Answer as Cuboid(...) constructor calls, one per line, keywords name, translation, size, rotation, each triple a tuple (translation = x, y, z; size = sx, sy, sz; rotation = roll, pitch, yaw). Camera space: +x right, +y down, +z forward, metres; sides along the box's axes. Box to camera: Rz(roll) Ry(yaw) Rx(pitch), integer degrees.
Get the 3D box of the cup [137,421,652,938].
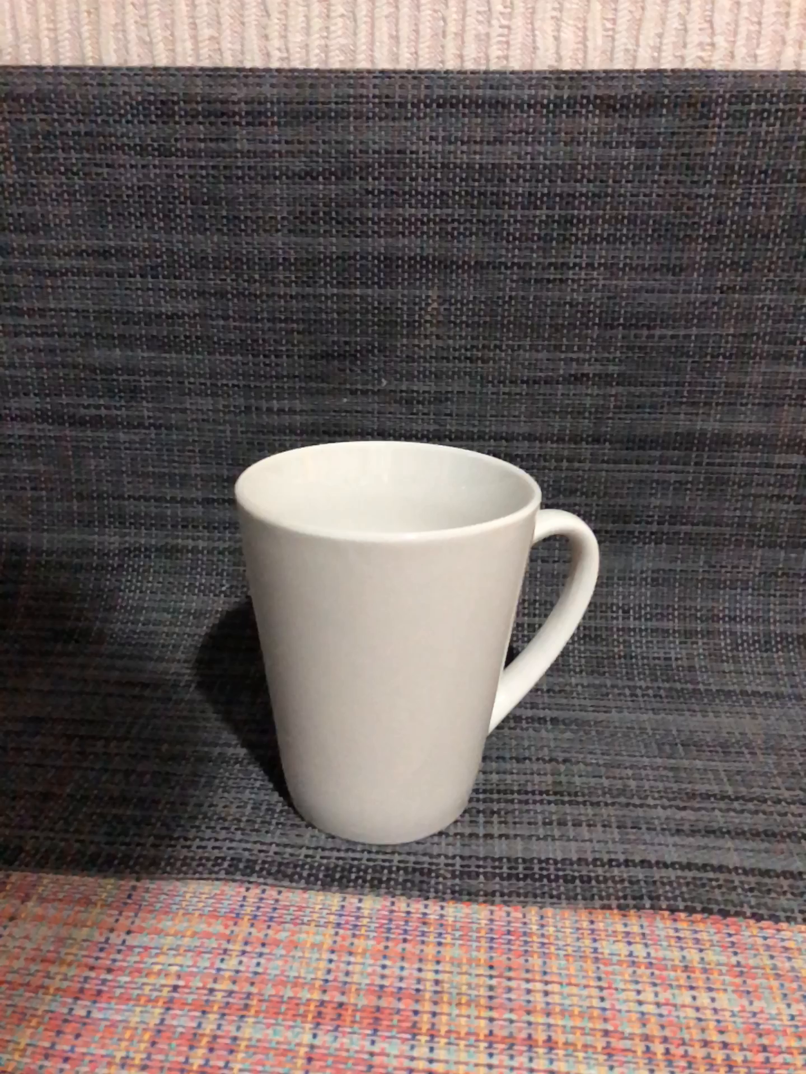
Cuboid(name="cup", translation=(-0.008, 0.028, 0.263), size=(0.112, 0.096, 0.097), rotation=(-9, 23, -25))
